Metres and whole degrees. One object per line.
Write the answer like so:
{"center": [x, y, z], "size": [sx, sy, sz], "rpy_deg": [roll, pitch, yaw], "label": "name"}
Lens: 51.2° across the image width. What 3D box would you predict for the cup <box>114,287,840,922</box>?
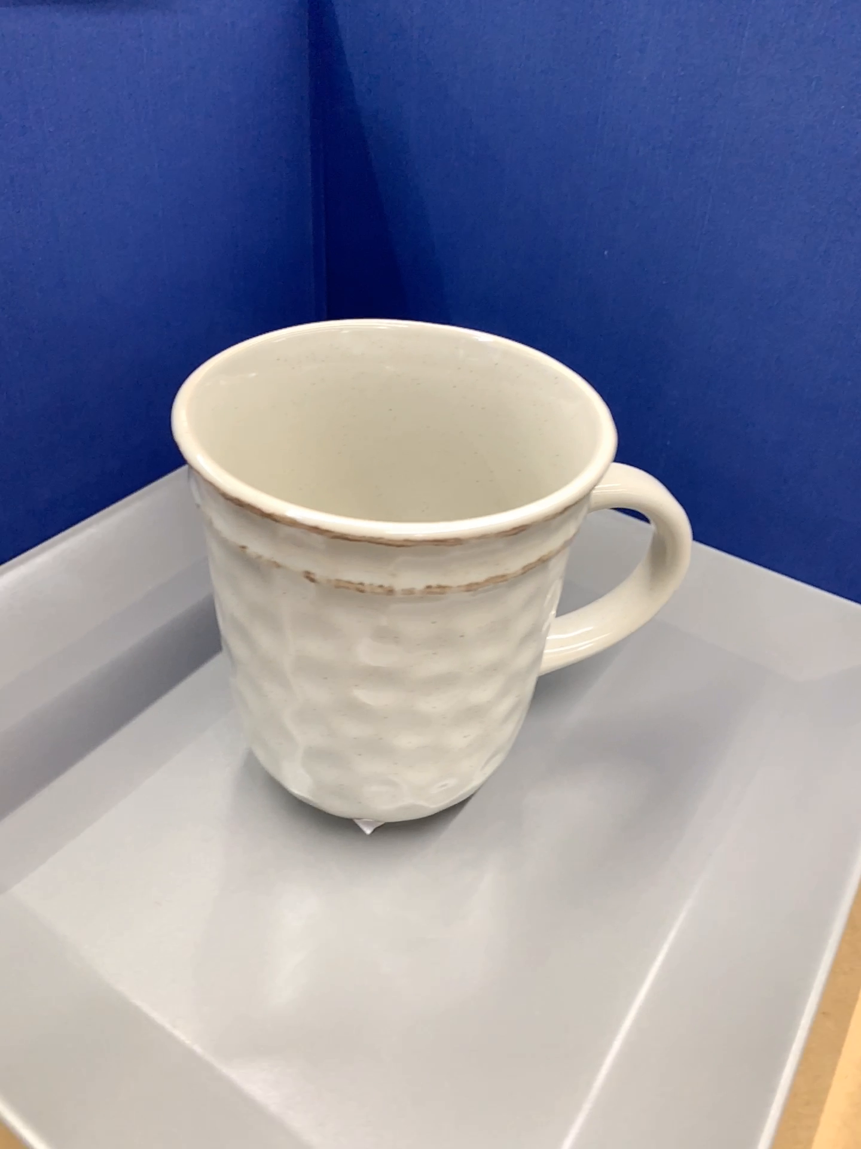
{"center": [0.005, -0.006, 0.219], "size": [0.123, 0.082, 0.101], "rpy_deg": [-17, 40, -26], "label": "cup"}
